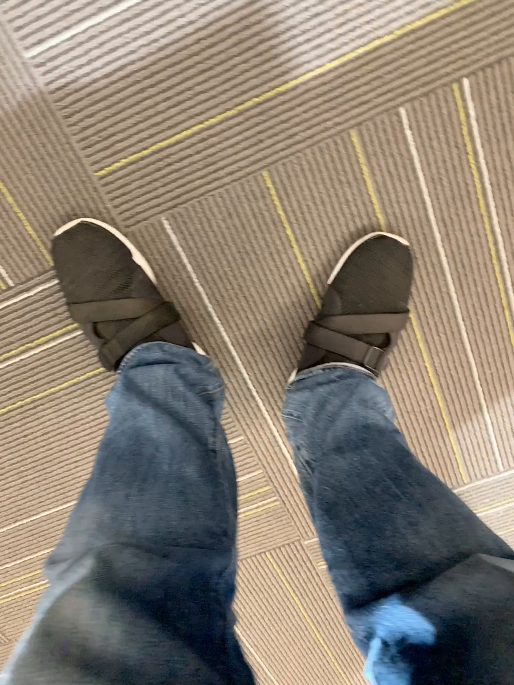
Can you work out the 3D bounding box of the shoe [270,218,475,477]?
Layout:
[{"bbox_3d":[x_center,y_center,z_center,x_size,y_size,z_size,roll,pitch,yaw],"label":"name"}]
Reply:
[{"bbox_3d":[0.130,0.013,0.683,0.120,0.110,0.301,17,116,-11],"label":"shoe"}]

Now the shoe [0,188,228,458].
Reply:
[{"bbox_3d":[-0.160,-0.019,0.668,0.120,0.119,0.301,-25,116,10],"label":"shoe"}]
